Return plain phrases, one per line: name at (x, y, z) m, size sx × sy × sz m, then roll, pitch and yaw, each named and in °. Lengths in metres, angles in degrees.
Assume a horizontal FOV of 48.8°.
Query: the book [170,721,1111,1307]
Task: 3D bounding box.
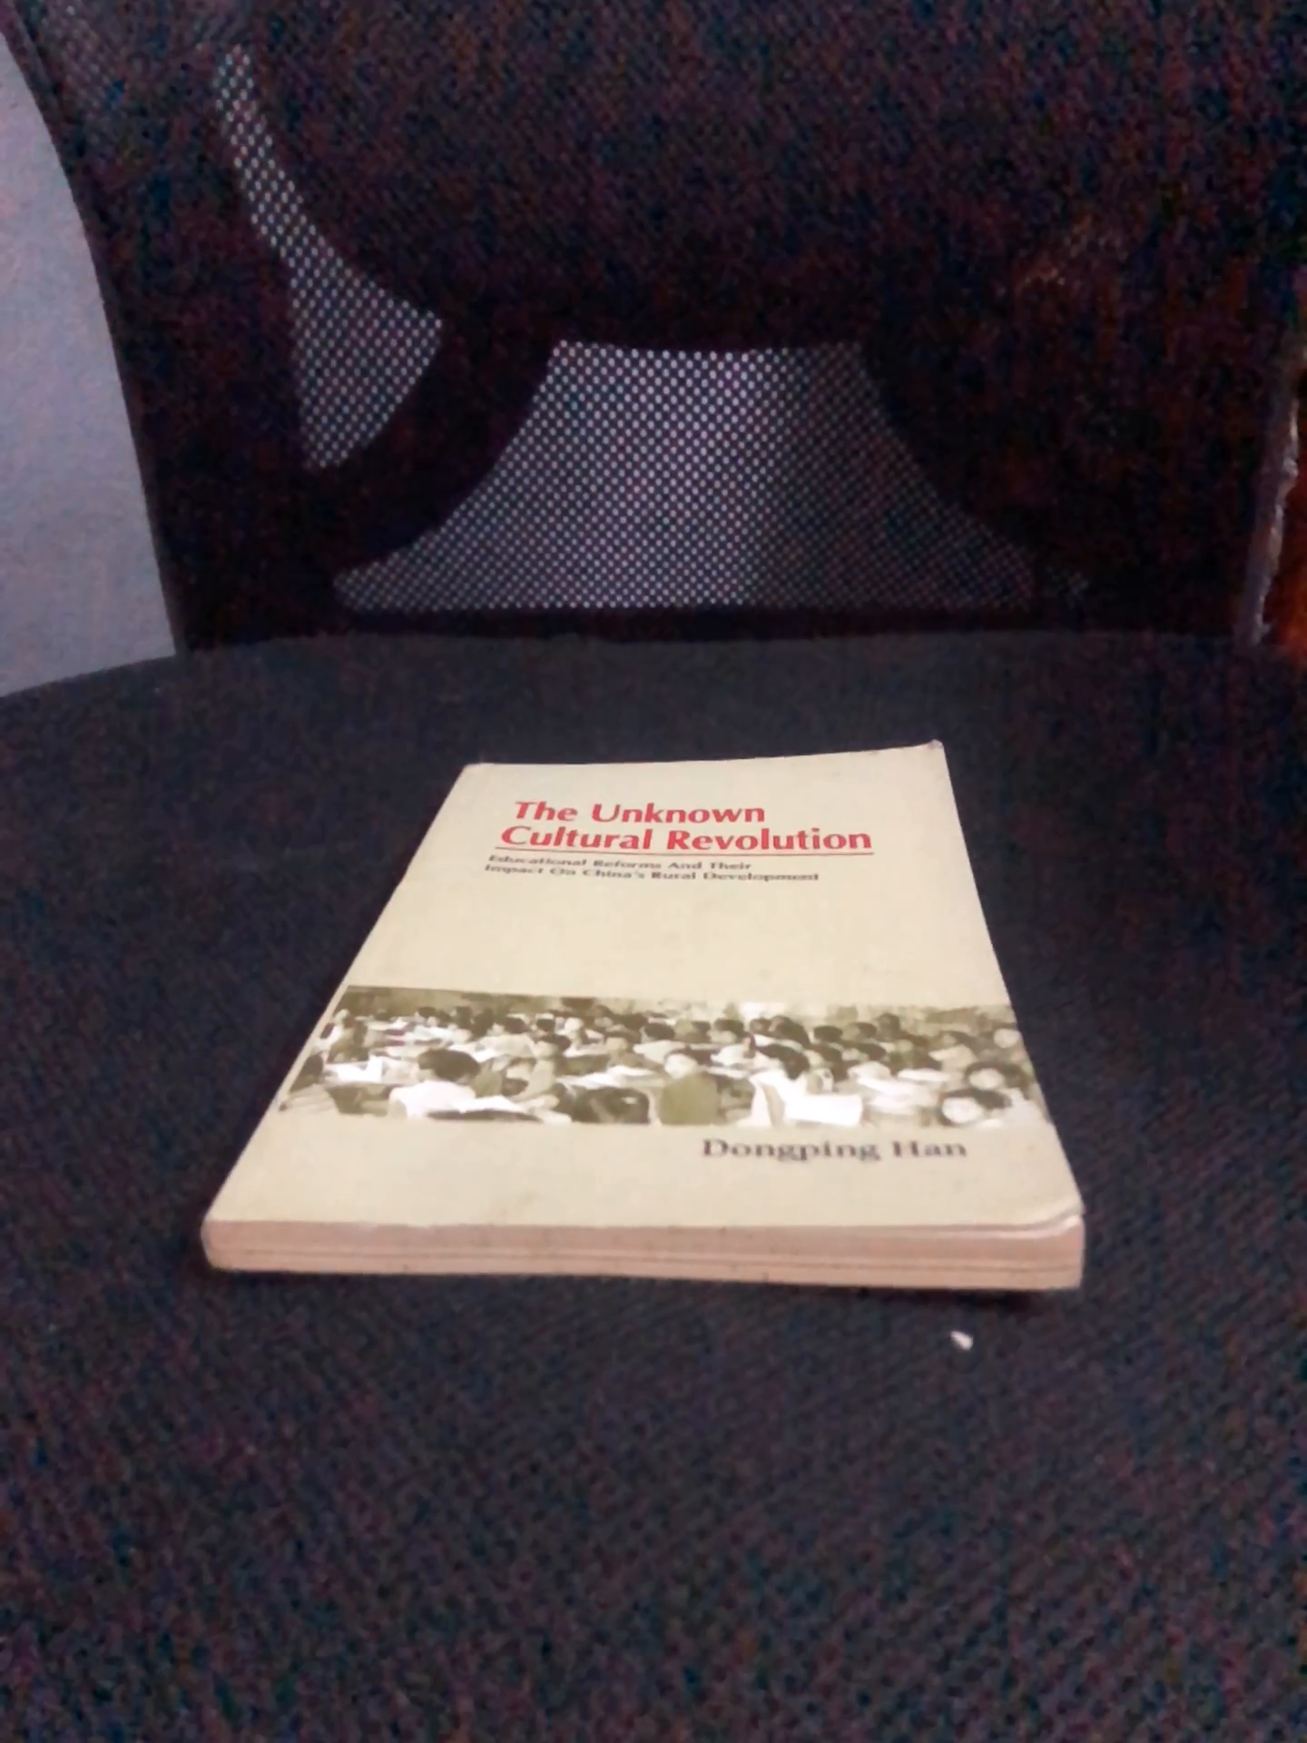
book at (0.004, 0.015, 0.333) m, size 0.154 × 0.017 × 0.215 m, roll -1°, pitch 28°, yaw 5°
